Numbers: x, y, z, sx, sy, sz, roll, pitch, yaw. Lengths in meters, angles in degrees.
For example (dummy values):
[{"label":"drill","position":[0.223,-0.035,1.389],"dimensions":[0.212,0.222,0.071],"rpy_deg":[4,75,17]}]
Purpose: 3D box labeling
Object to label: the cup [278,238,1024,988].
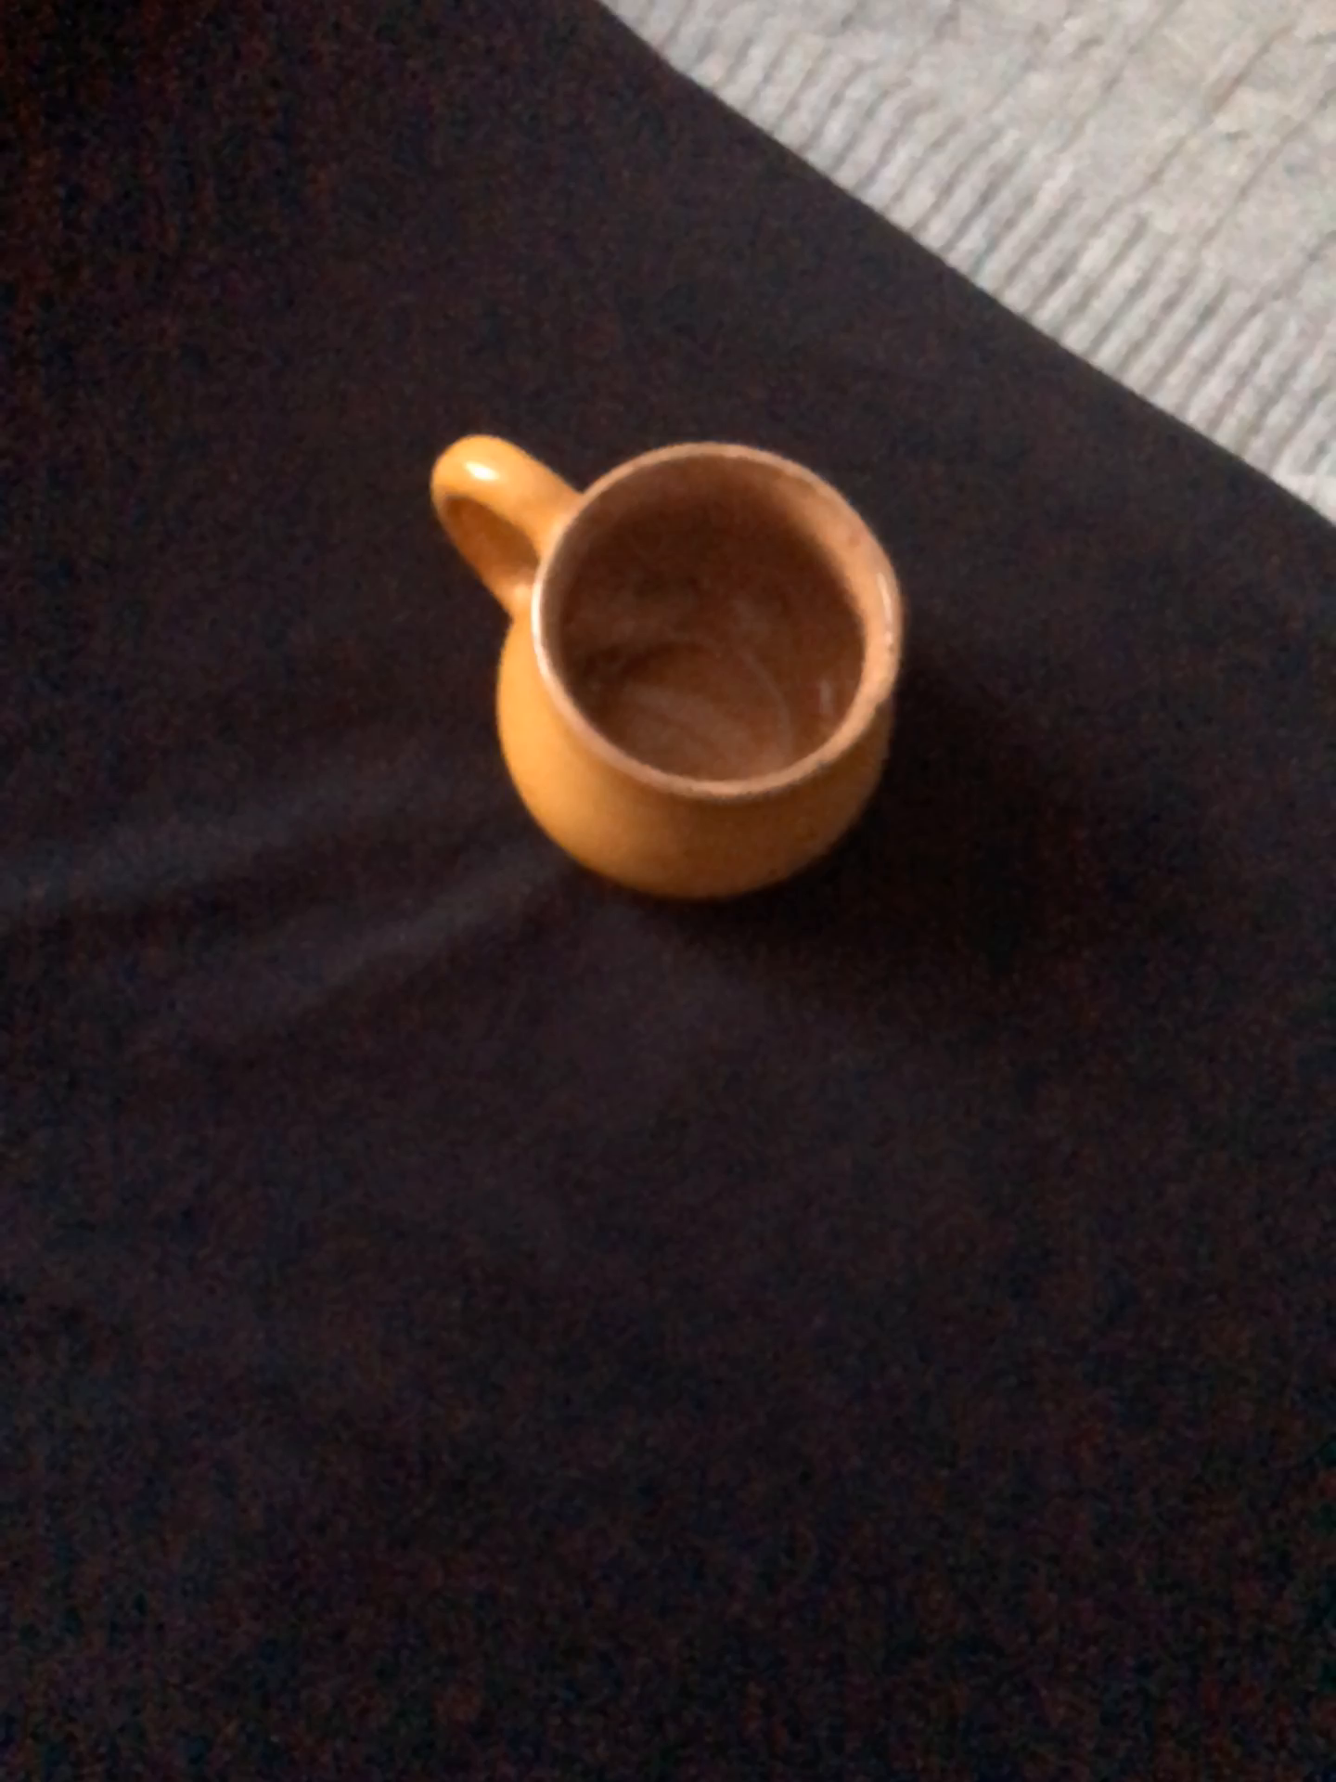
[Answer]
[{"label":"cup","position":[-0.005,-0.055,0.314],"dimensions":[0.119,0.058,0.082],"rpy_deg":[44,74,6]}]
